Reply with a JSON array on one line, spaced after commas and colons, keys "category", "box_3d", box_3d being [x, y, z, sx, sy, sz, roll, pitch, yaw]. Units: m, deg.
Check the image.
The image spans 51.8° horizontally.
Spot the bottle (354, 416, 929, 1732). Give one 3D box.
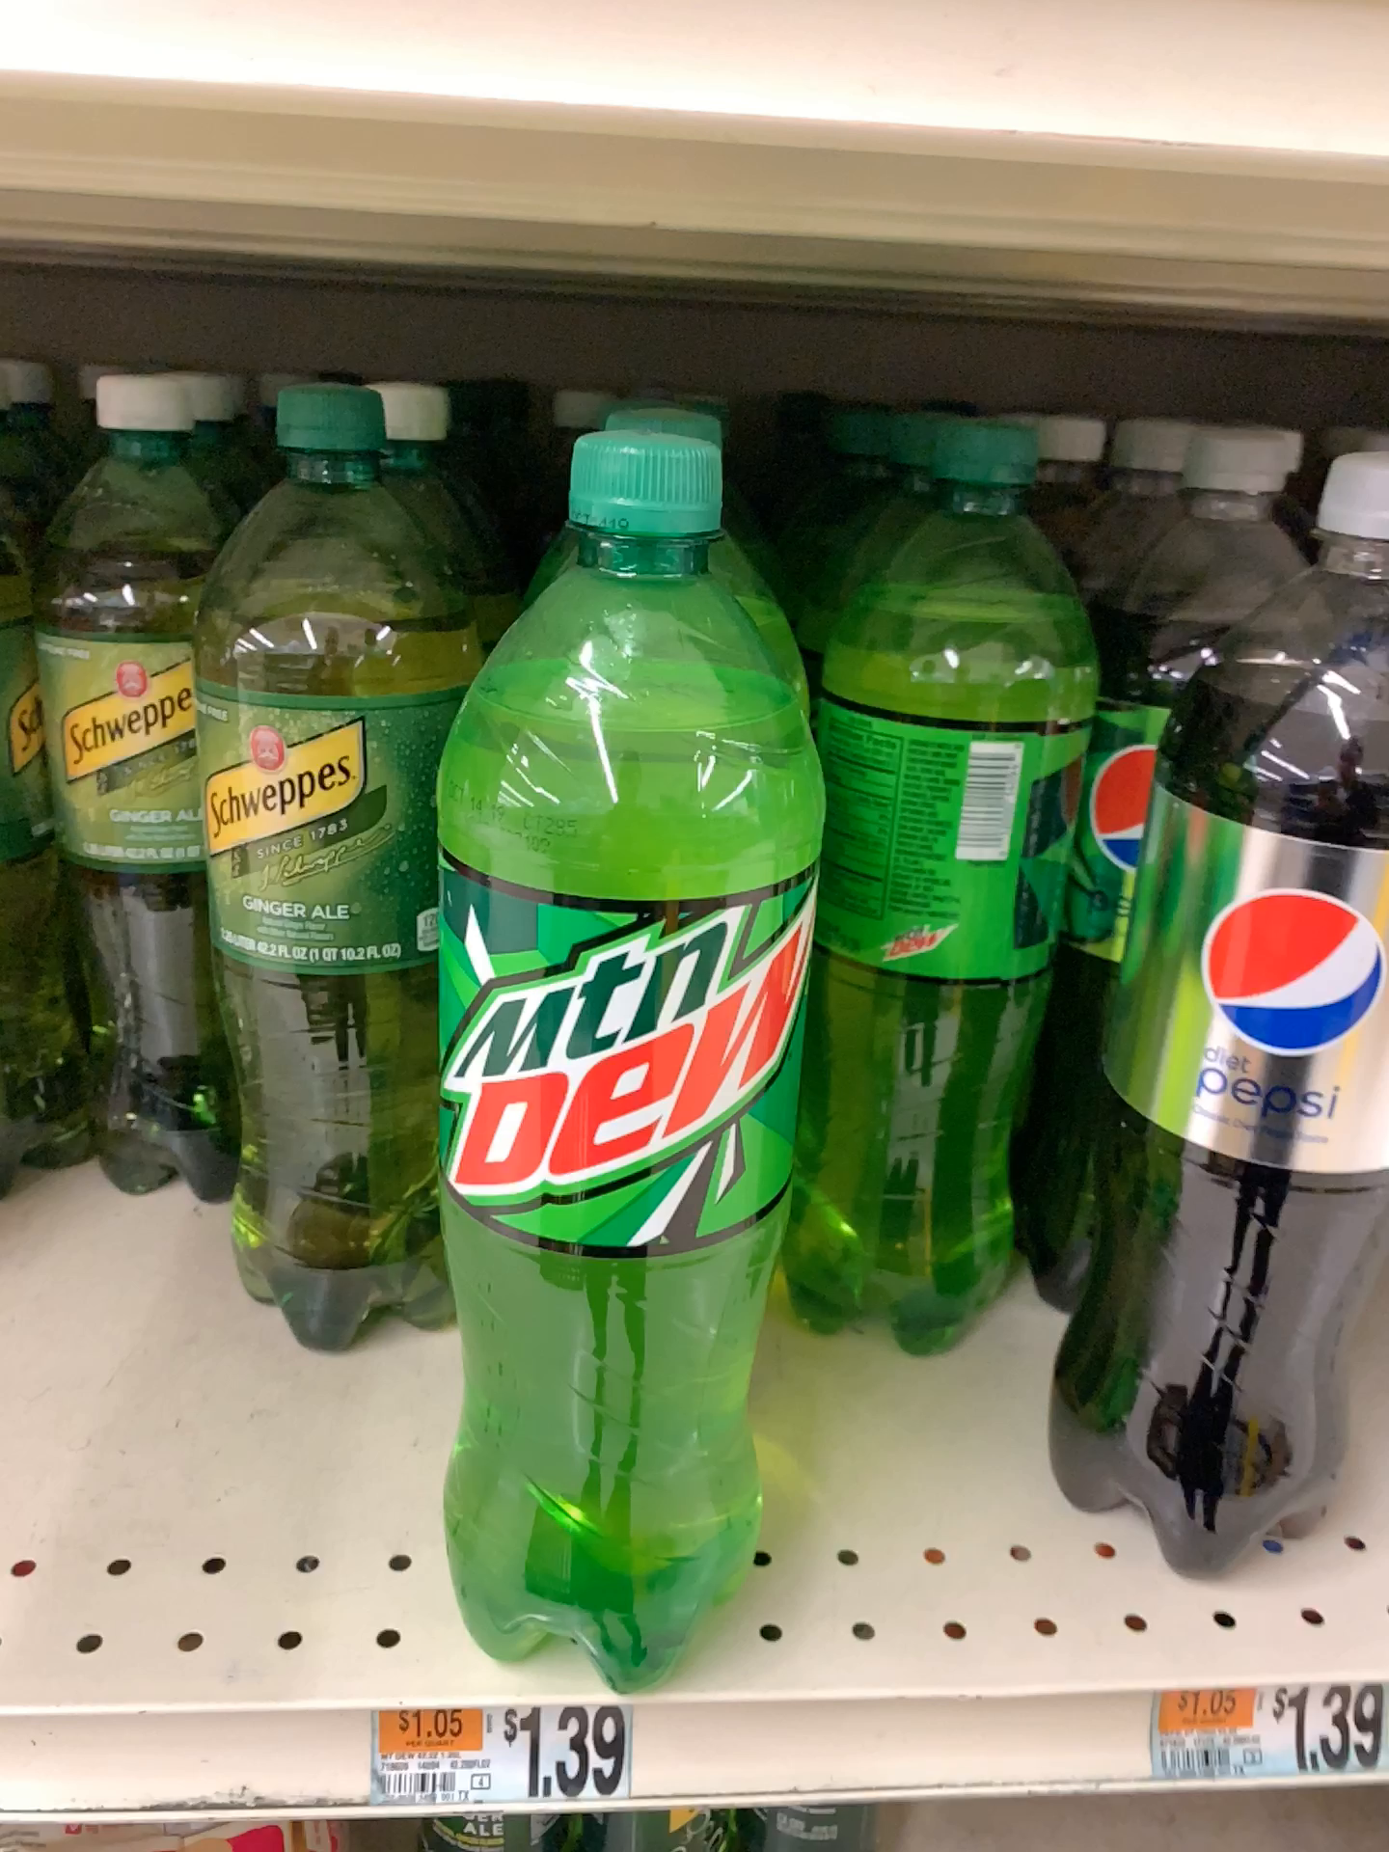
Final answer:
[{"category": "bottle", "box_3d": [-0.016, 0.041, 0.344, 0.100, 0.302, 0.090, 2, 21, -1]}]
